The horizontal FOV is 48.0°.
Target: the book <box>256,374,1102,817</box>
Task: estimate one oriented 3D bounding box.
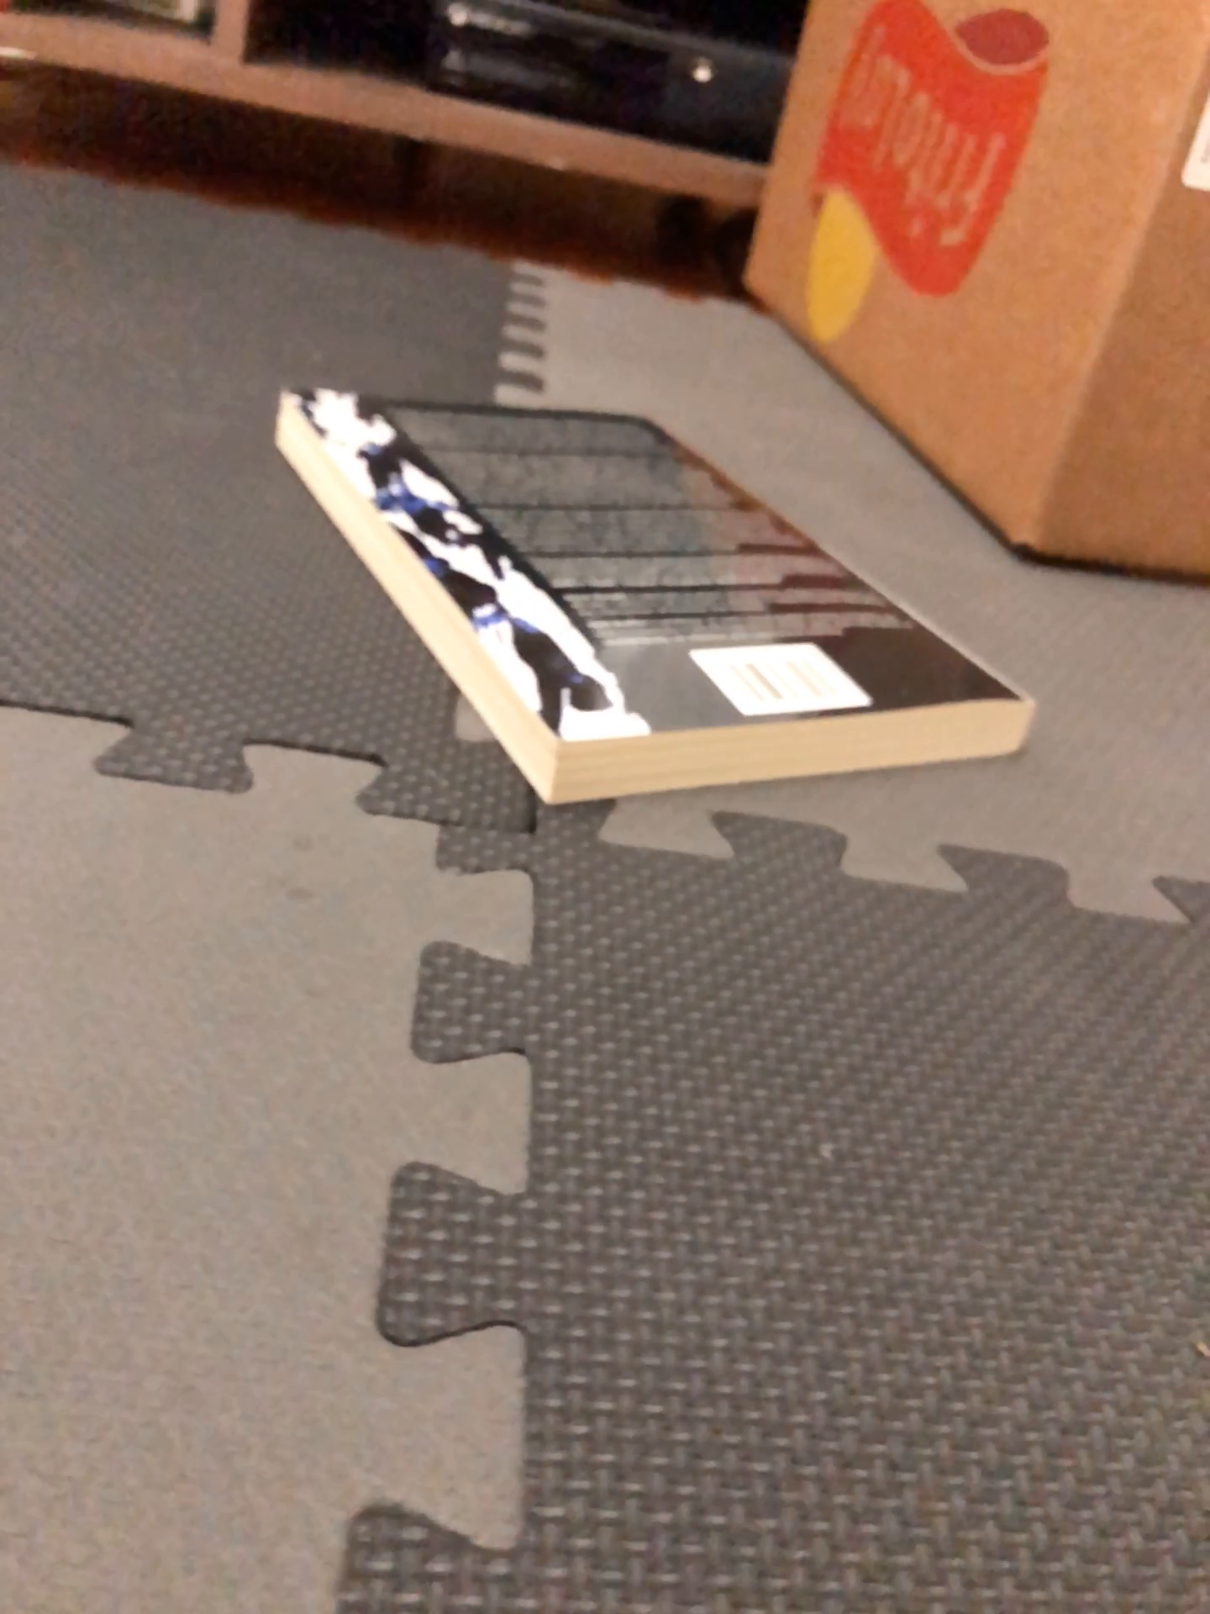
[{"bbox_3d":[0.005,-0.076,0.392,0.150,0.020,0.231,-6,36,-29],"label":"book"}]

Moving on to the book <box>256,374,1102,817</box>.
[{"bbox_3d":[0.005,-0.076,0.392,0.150,0.020,0.231,-6,36,-29],"label":"book"}]
